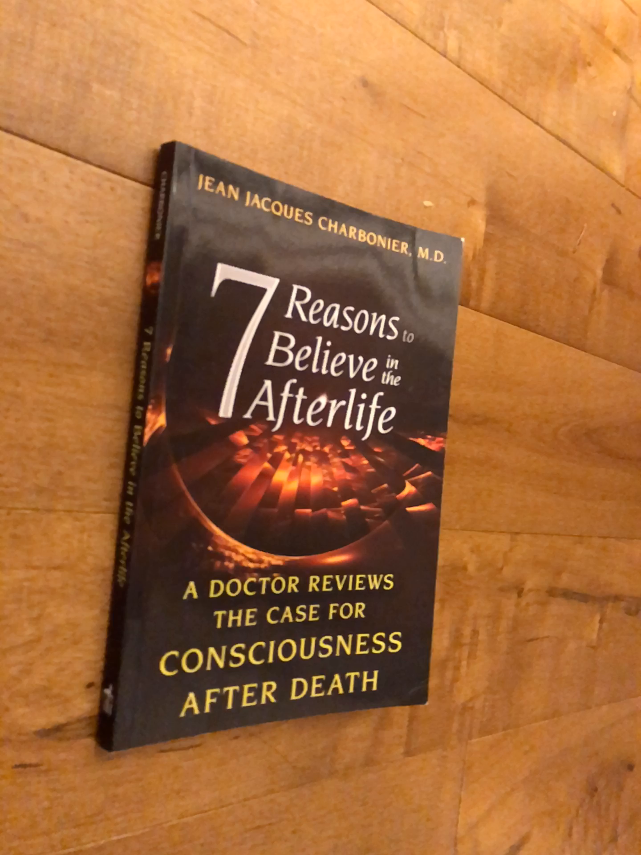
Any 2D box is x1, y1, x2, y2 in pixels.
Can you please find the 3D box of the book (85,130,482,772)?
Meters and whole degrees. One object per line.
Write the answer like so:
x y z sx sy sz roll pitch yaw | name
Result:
-0.007 0.016 0.332 0.171 0.030 0.250 7 89 -34 | book
